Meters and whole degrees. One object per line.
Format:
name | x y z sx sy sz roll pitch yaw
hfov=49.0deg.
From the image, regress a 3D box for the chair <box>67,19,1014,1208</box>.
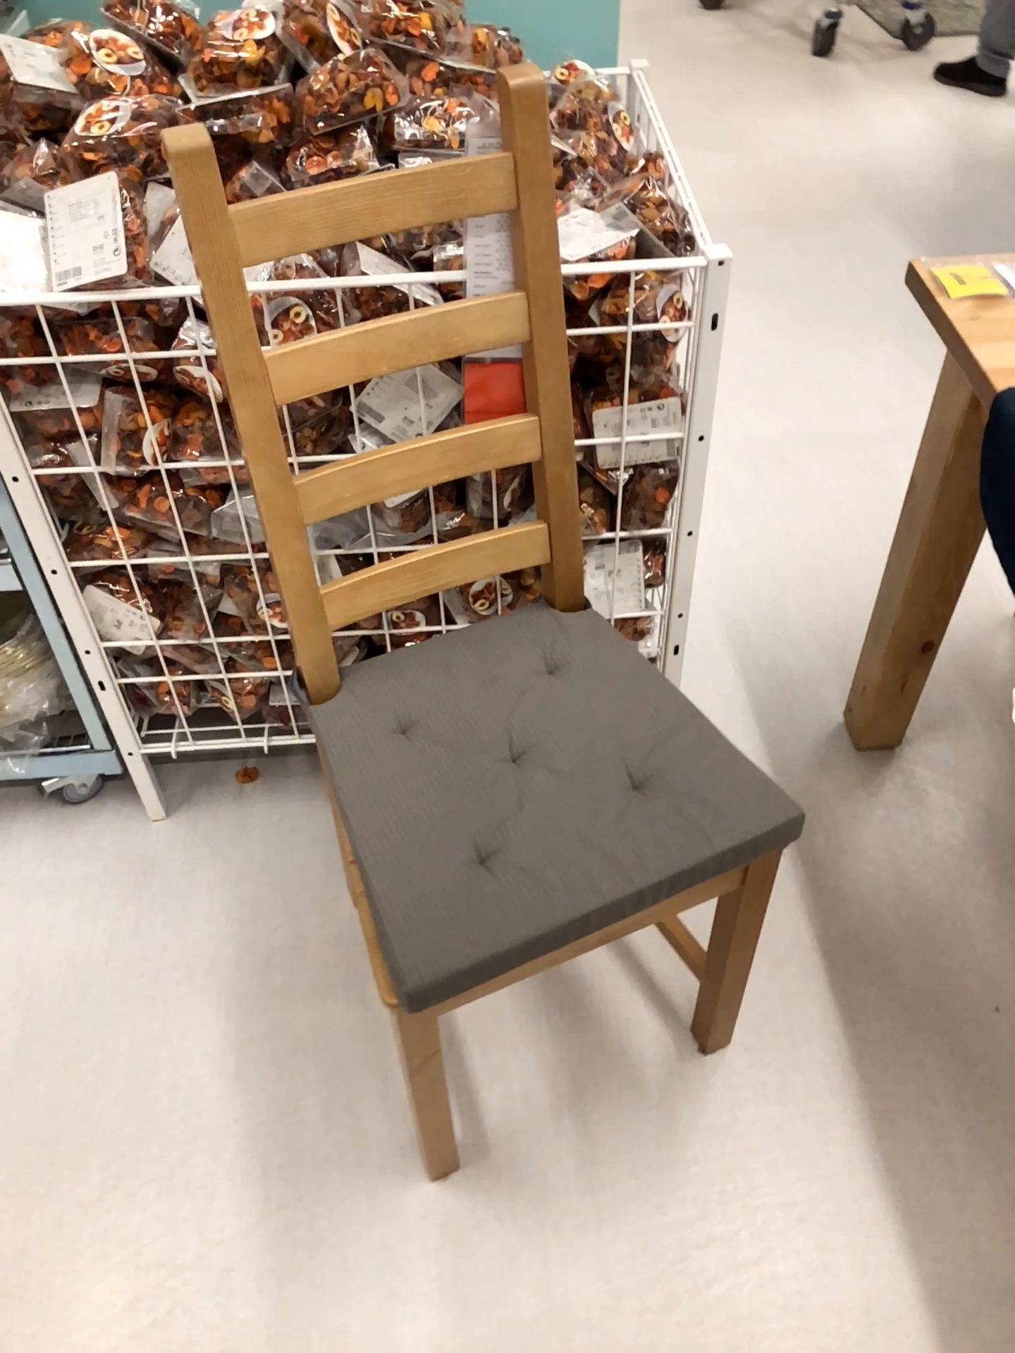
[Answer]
chair | -0.006 0.004 1.022 0.430 0.914 0.473 -19 48 -16
